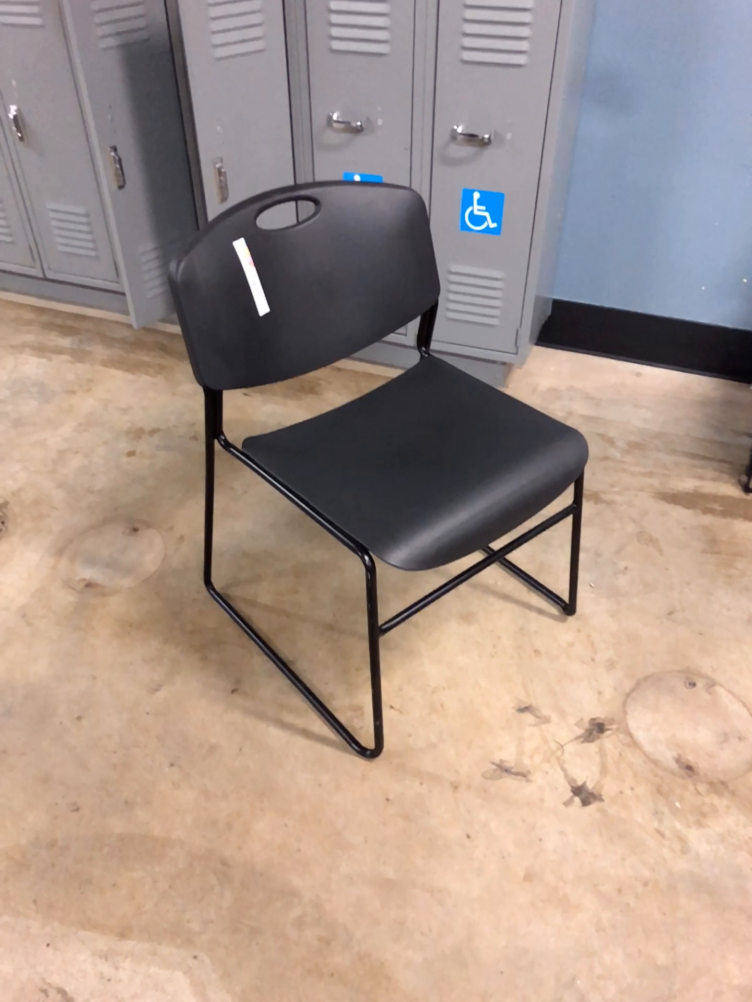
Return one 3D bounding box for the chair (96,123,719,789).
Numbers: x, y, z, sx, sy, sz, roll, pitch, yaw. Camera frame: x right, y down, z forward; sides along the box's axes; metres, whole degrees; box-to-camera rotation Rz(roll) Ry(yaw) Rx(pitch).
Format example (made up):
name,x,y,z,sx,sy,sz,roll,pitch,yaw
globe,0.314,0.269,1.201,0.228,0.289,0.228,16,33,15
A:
name,x,y,z,sx,sy,sz,roll,pitch,yaw
chair,0.028,-0.094,1.242,0.545,0.665,0.548,-30,50,-30
